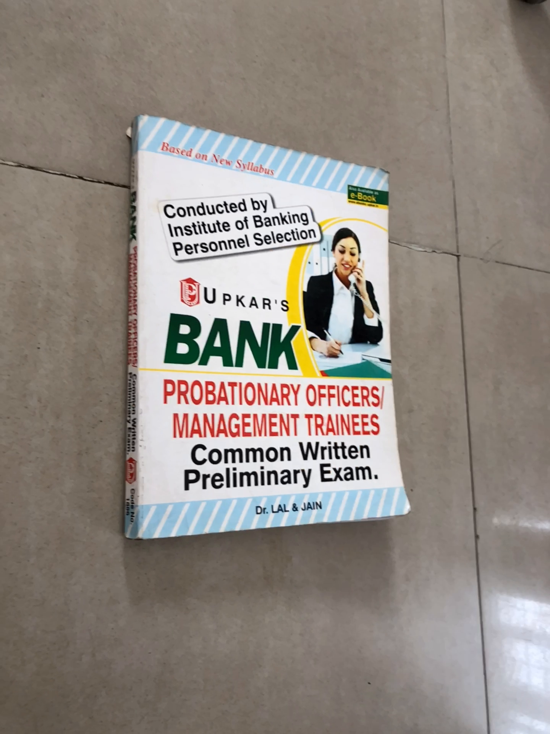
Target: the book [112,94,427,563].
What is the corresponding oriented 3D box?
[{"bbox_3d":[0.004,-0.016,0.358,0.181,0.040,0.230,4,82,-29],"label":"book"}]
